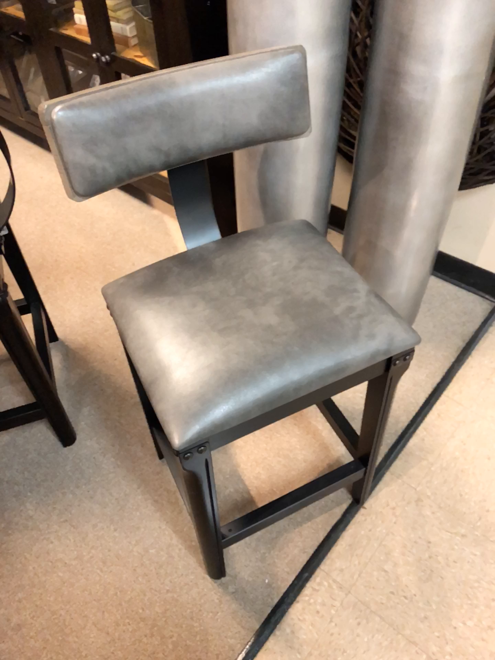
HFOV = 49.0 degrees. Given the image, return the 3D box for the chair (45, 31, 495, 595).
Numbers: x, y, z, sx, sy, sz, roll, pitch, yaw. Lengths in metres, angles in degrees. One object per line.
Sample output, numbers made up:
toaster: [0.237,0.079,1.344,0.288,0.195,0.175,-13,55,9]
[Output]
chair: [0.025,0.030,1.005,0.440,0.864,0.463,-22,51,-18]
